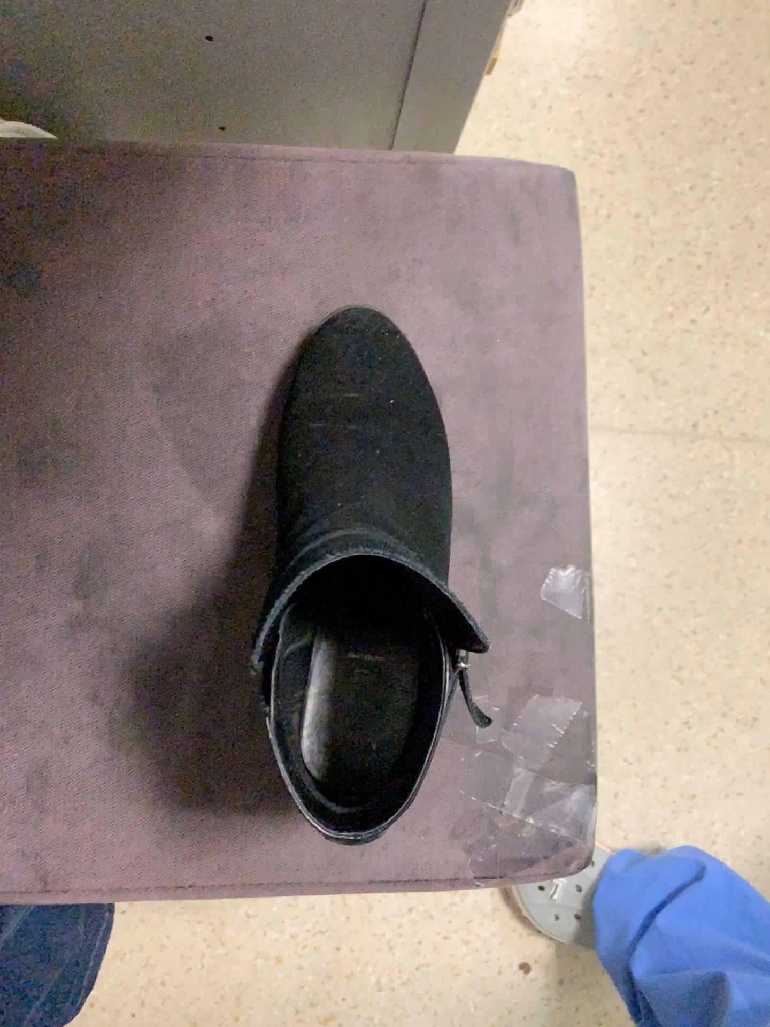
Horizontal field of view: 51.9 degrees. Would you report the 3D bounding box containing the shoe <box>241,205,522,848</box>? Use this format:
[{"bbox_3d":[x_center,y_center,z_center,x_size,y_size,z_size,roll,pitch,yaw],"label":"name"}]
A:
[{"bbox_3d":[-0.006,0.008,0.362,0.100,0.138,0.235,2,84,-6],"label":"shoe"}]
